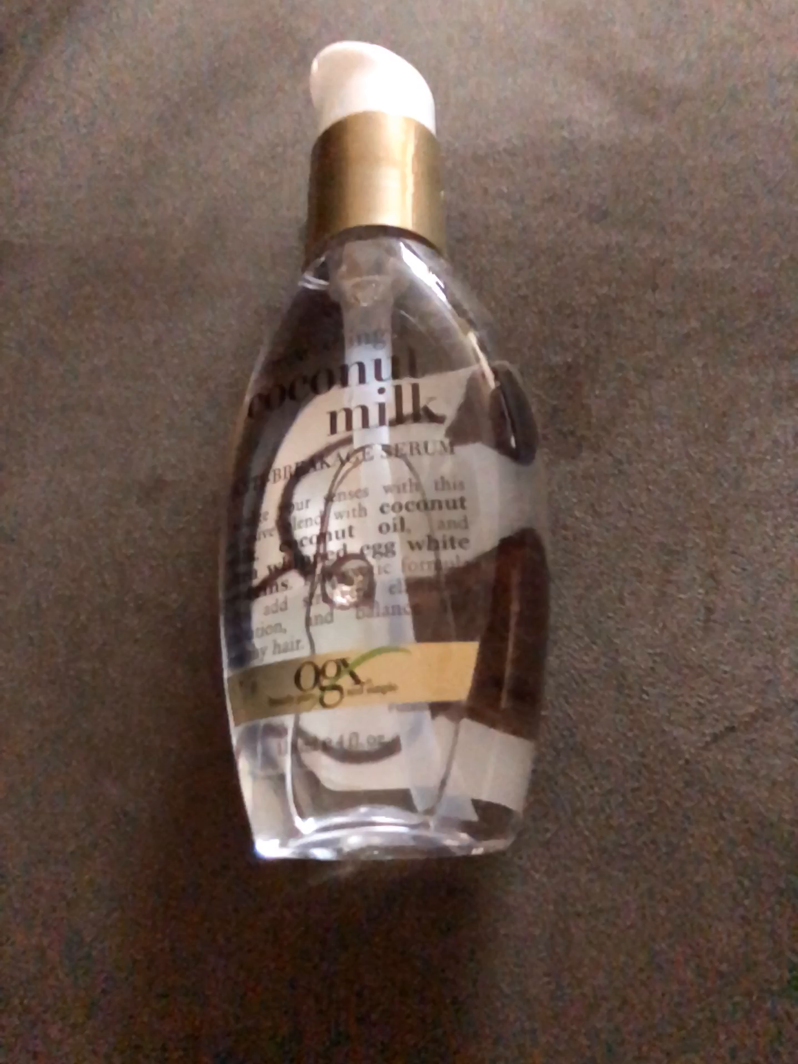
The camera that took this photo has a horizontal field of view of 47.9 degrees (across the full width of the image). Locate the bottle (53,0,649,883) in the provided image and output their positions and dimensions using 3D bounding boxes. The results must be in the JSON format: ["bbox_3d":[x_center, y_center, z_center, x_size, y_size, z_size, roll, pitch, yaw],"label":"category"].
[{"bbox_3d":[-0.002,-0.033,0.150,0.070,0.040,0.170,-4,68,13],"label":"bottle"}]
